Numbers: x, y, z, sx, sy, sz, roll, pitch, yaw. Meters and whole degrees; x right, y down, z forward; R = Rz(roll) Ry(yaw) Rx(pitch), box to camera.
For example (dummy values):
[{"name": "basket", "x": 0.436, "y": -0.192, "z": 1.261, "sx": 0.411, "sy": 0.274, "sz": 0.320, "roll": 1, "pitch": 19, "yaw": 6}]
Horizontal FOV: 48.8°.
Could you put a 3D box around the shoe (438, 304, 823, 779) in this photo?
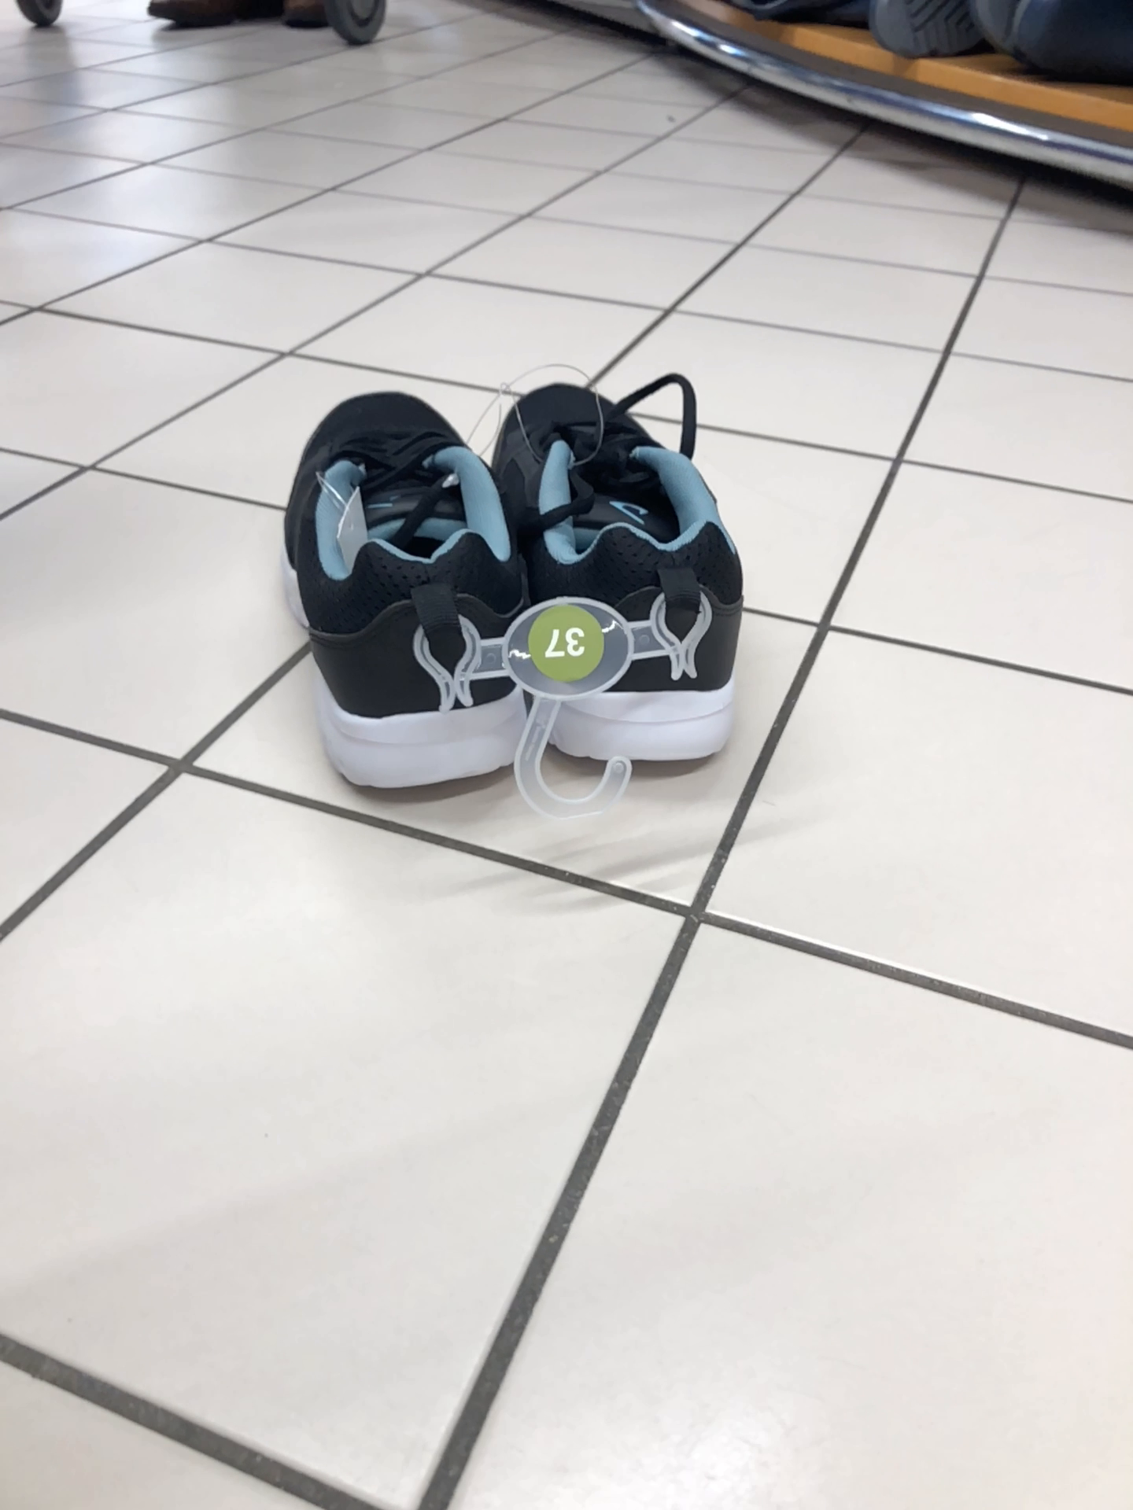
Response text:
[{"name": "shoe", "x": 0.010, "y": -0.104, "z": 0.538, "sx": 0.100, "sy": 0.099, "sz": 0.241, "roll": -2, "pitch": 37, "yaw": -12}]

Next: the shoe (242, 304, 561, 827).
[{"name": "shoe", "x": -0.076, "y": -0.094, "z": 0.521, "sx": 0.100, "sy": 0.109, "sz": 0.241, "roll": -5, "pitch": 37, "yaw": -10}]
